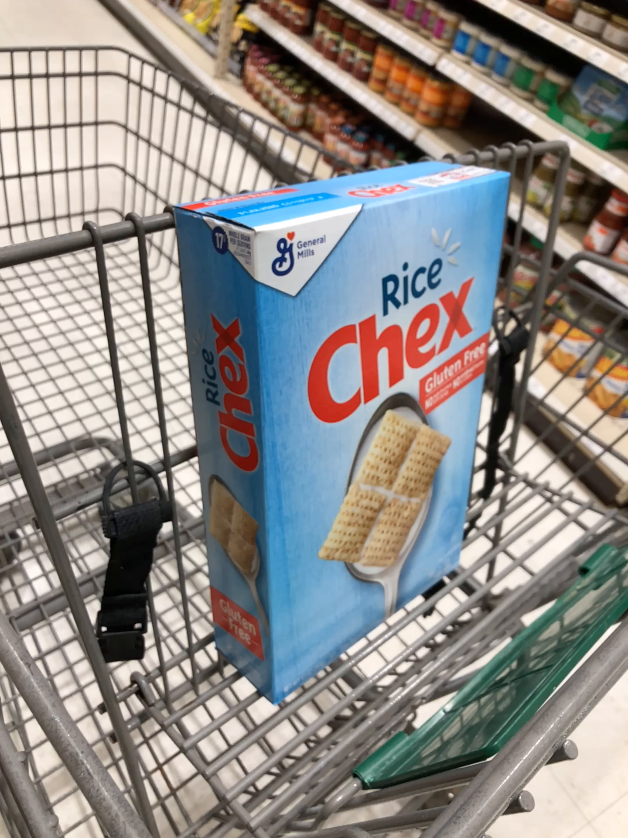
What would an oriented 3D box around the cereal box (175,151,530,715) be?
[{"bbox_3d":[0.031,0.004,0.427,0.200,0.290,0.060,-25,37,-38],"label":"cereal box"}]
